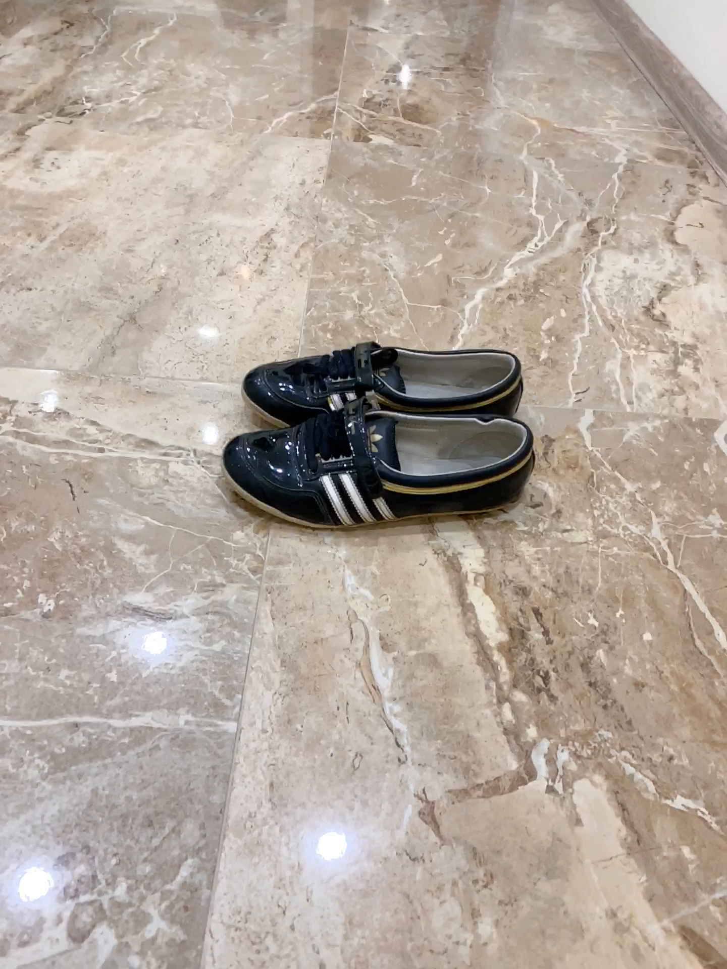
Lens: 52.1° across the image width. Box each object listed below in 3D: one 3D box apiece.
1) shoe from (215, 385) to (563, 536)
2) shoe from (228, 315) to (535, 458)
[{"bbox_3d":[0.016,-0.019,0.565,0.240,0.060,0.096,1,45,-4],"label":"shoe"},{"bbox_3d":[0.014,-0.085,0.634,0.240,0.060,0.096,4,45,-2],"label":"shoe"}]
